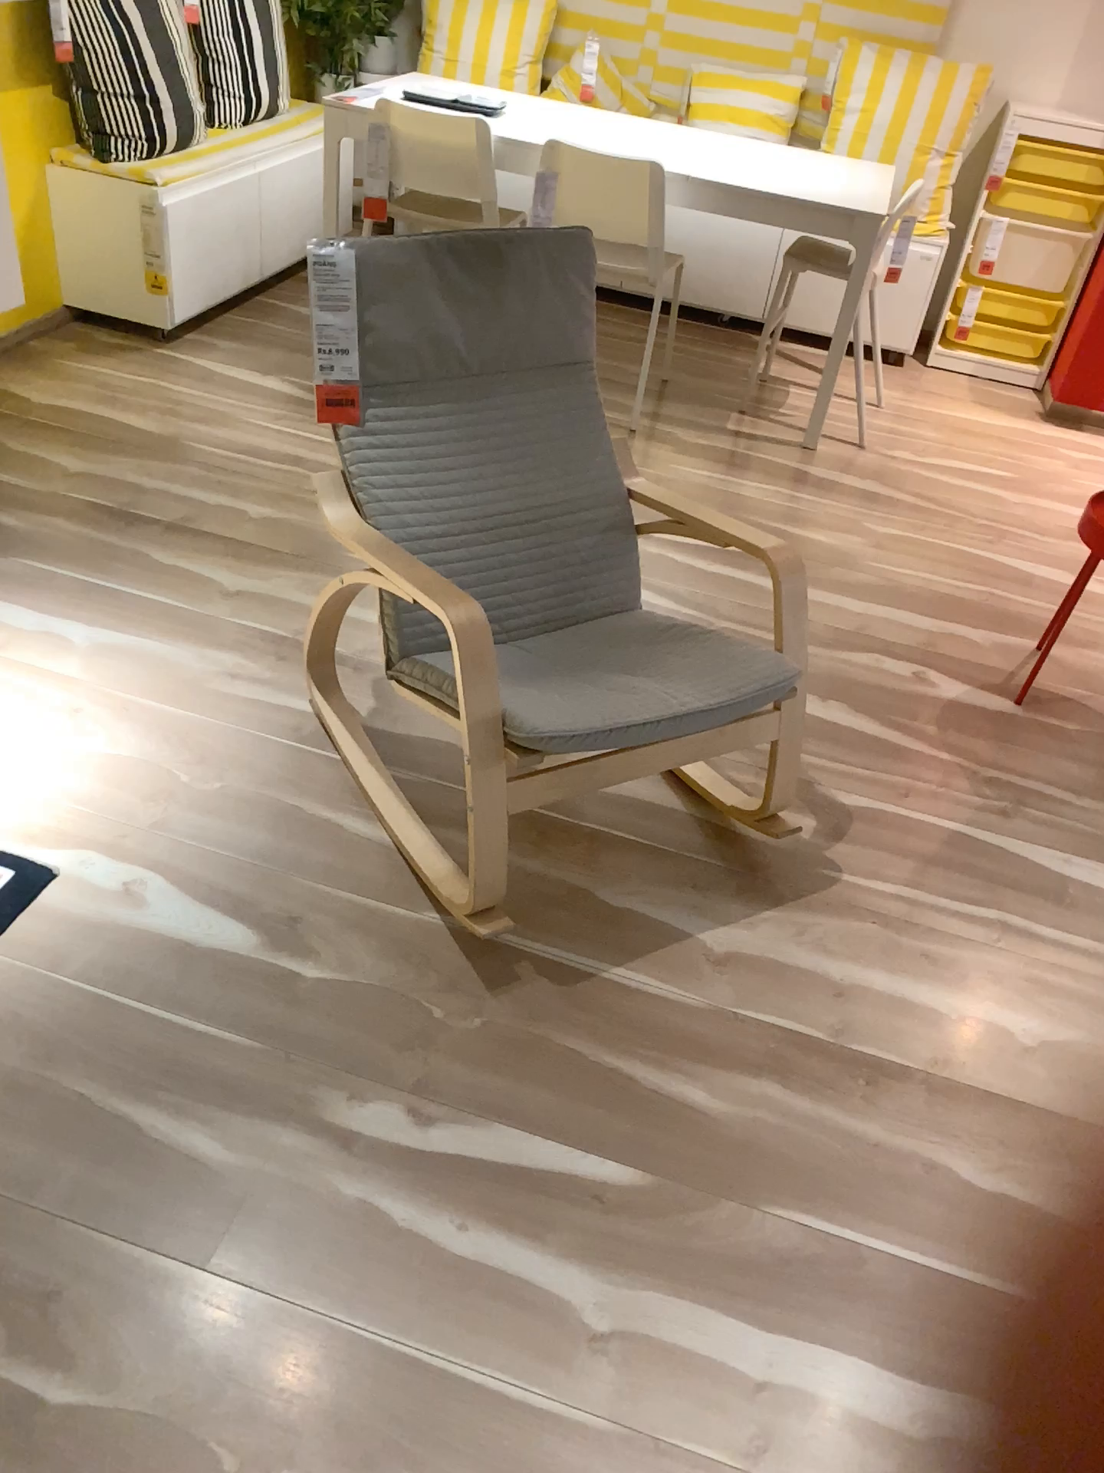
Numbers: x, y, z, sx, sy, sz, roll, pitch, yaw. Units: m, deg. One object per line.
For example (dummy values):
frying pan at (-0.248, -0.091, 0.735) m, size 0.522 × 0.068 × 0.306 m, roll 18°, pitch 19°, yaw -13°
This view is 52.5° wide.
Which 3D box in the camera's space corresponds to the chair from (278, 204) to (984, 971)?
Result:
chair at (0.031, -0.288, 1.855) m, size 0.731 × 0.916 × 0.722 m, roll -14°, pitch 44°, yaw -28°
